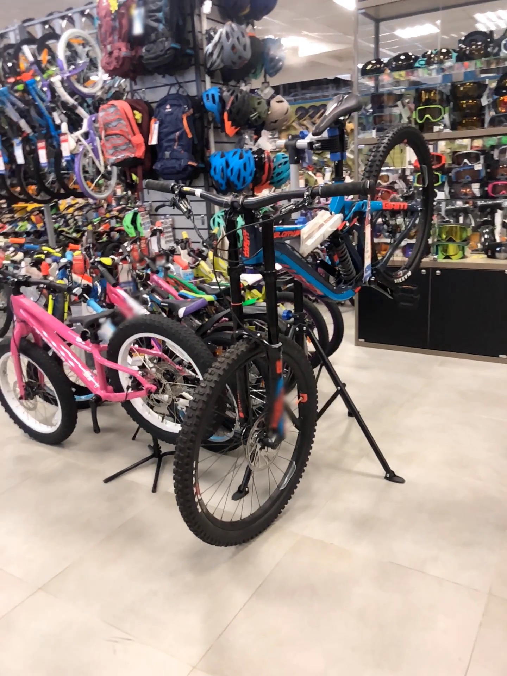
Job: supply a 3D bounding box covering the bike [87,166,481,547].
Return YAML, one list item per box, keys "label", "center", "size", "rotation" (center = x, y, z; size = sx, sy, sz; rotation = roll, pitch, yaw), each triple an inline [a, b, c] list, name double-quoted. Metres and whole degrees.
- label: "bike"
  center: [0.177, -0.107, 1.962]
  size: [0.660, 0.182, 1.528]
  rotation: [12, 49, 39]
